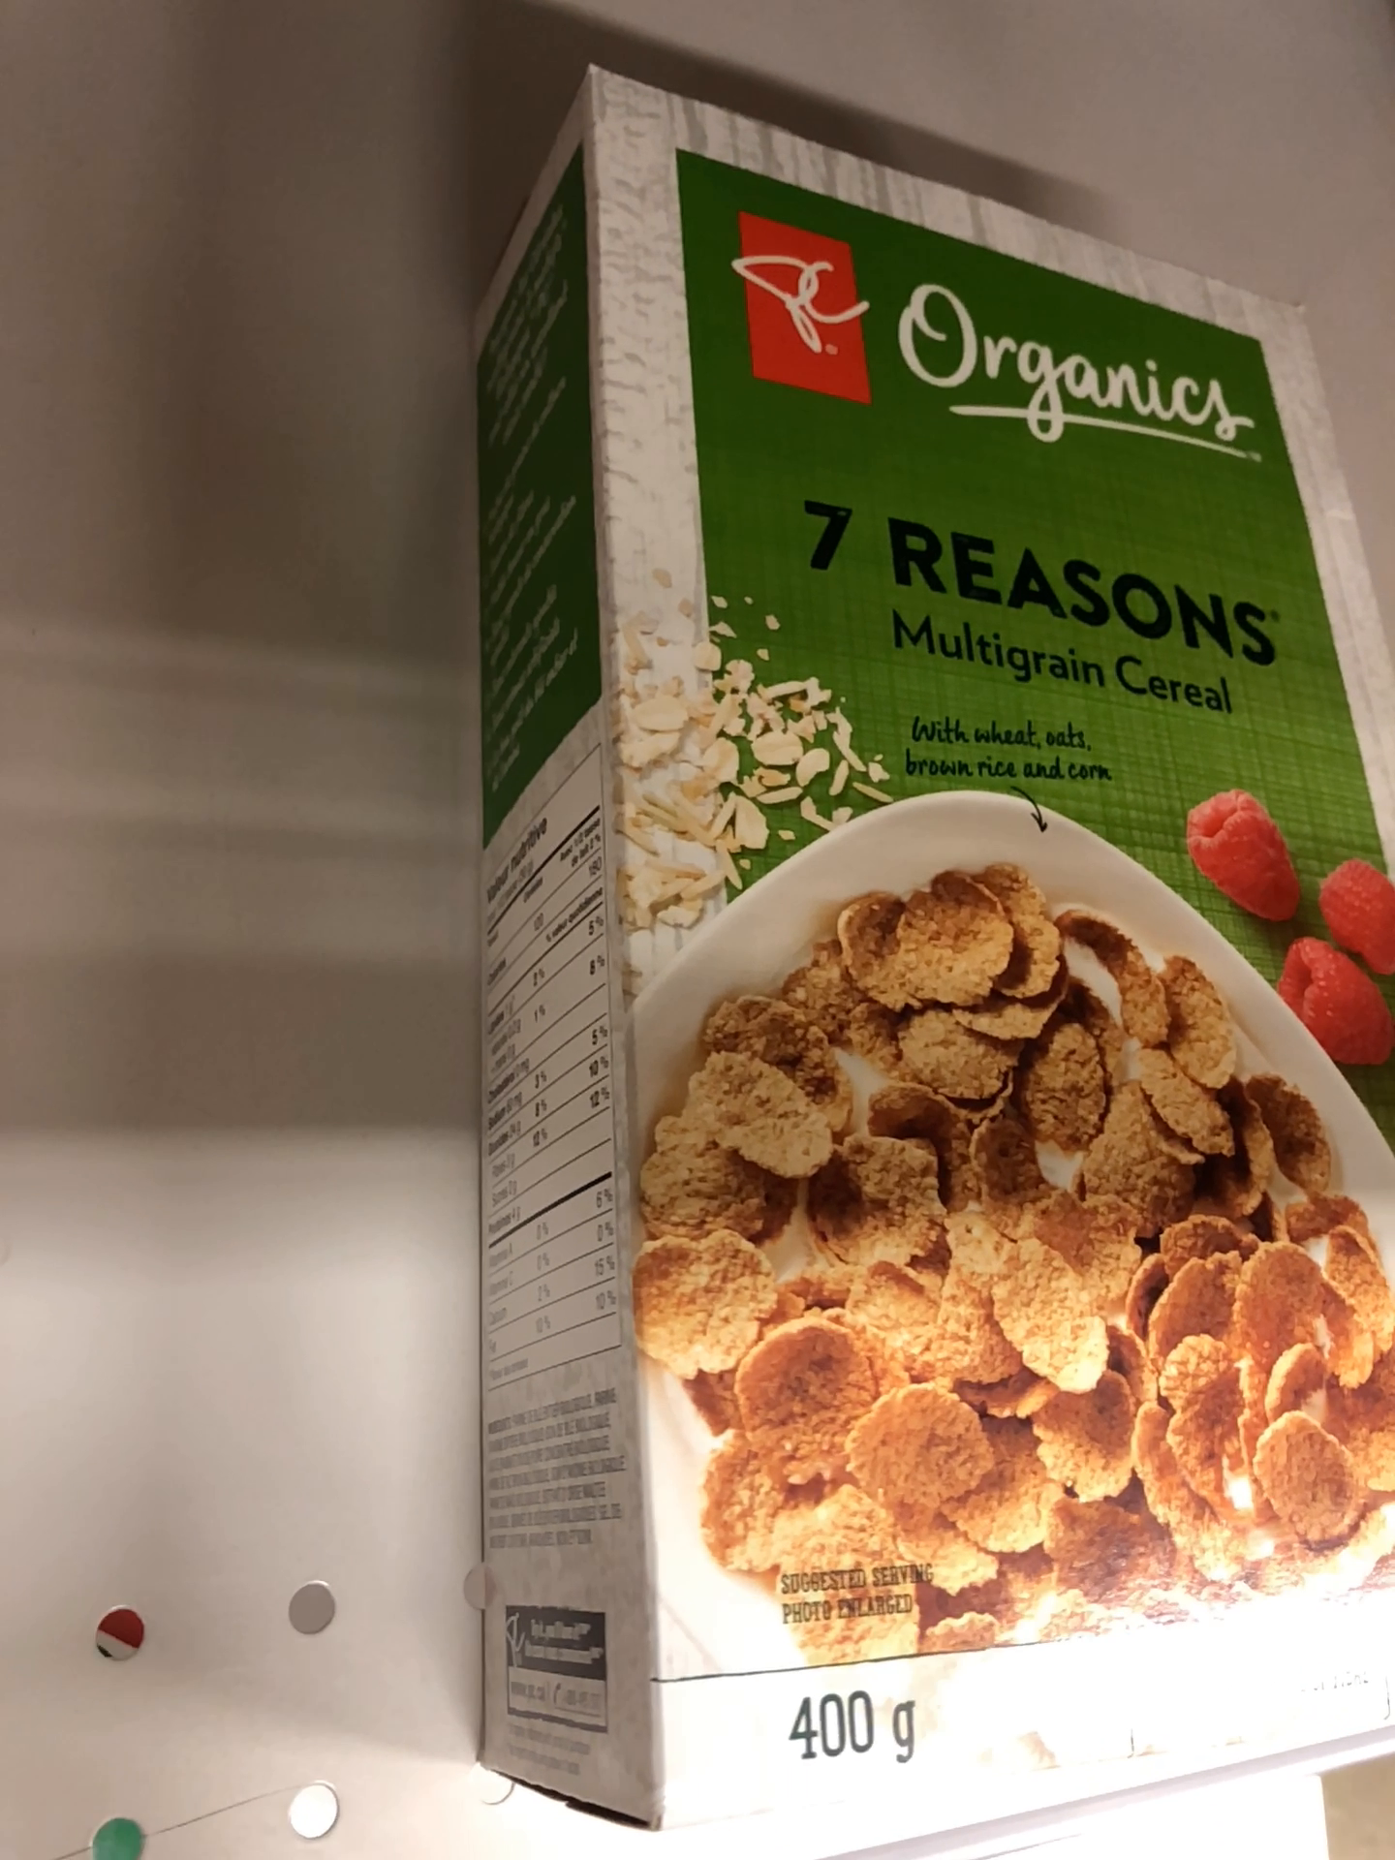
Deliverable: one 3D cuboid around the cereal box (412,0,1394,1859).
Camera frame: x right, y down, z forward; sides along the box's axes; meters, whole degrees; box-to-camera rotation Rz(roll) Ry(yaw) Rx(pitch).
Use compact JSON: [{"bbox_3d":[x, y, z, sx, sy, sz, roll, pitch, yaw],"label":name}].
[{"bbox_3d":[0.051,-0.006,0.256,0.180,0.060,0.260,7,66,-24],"label":"cereal box"}]
